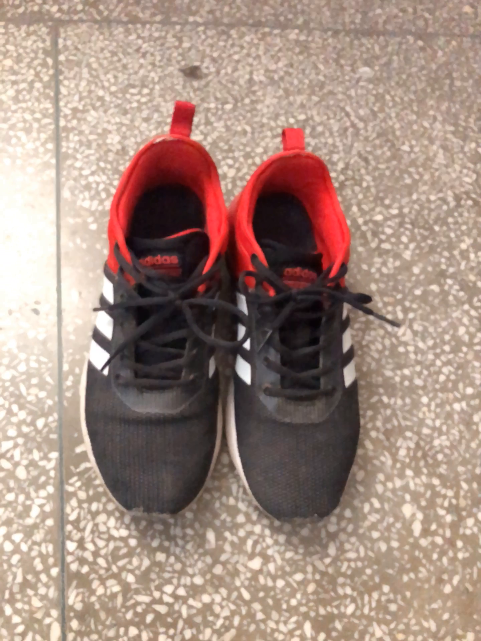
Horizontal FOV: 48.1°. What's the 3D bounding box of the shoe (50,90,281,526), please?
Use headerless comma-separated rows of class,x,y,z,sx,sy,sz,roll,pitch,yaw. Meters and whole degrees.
shoe,-0.049,-0.005,0.430,0.130,0.140,0.310,4,67,-7

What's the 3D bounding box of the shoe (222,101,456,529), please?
shoe,0.057,-0.001,0.449,0.130,0.140,0.320,3,67,-8
